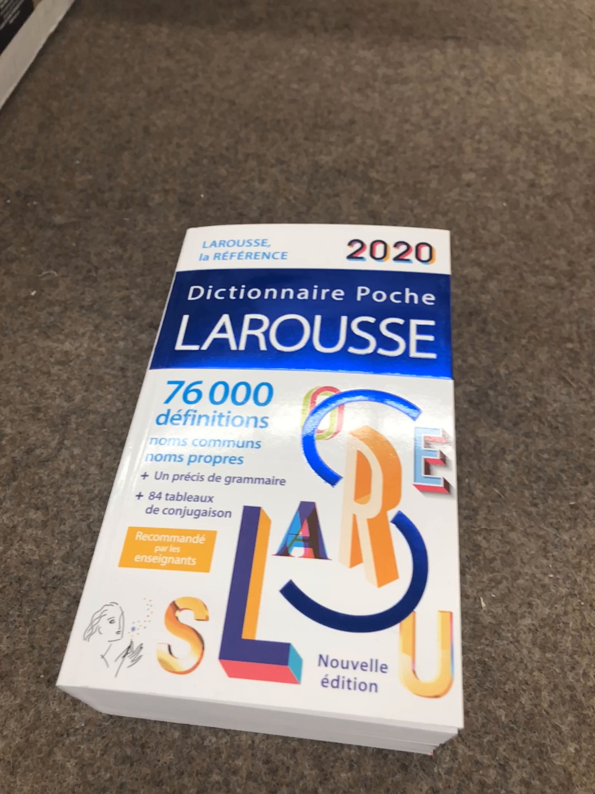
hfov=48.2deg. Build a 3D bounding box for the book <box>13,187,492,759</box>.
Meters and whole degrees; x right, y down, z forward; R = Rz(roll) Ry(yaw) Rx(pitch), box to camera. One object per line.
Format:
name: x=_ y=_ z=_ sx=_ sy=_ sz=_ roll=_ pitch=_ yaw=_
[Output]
book: x=-0.004 y=0.016 z=0.236 sx=0.116 sy=0.060 sz=0.185 roll=5 pitch=57 yaw=2
